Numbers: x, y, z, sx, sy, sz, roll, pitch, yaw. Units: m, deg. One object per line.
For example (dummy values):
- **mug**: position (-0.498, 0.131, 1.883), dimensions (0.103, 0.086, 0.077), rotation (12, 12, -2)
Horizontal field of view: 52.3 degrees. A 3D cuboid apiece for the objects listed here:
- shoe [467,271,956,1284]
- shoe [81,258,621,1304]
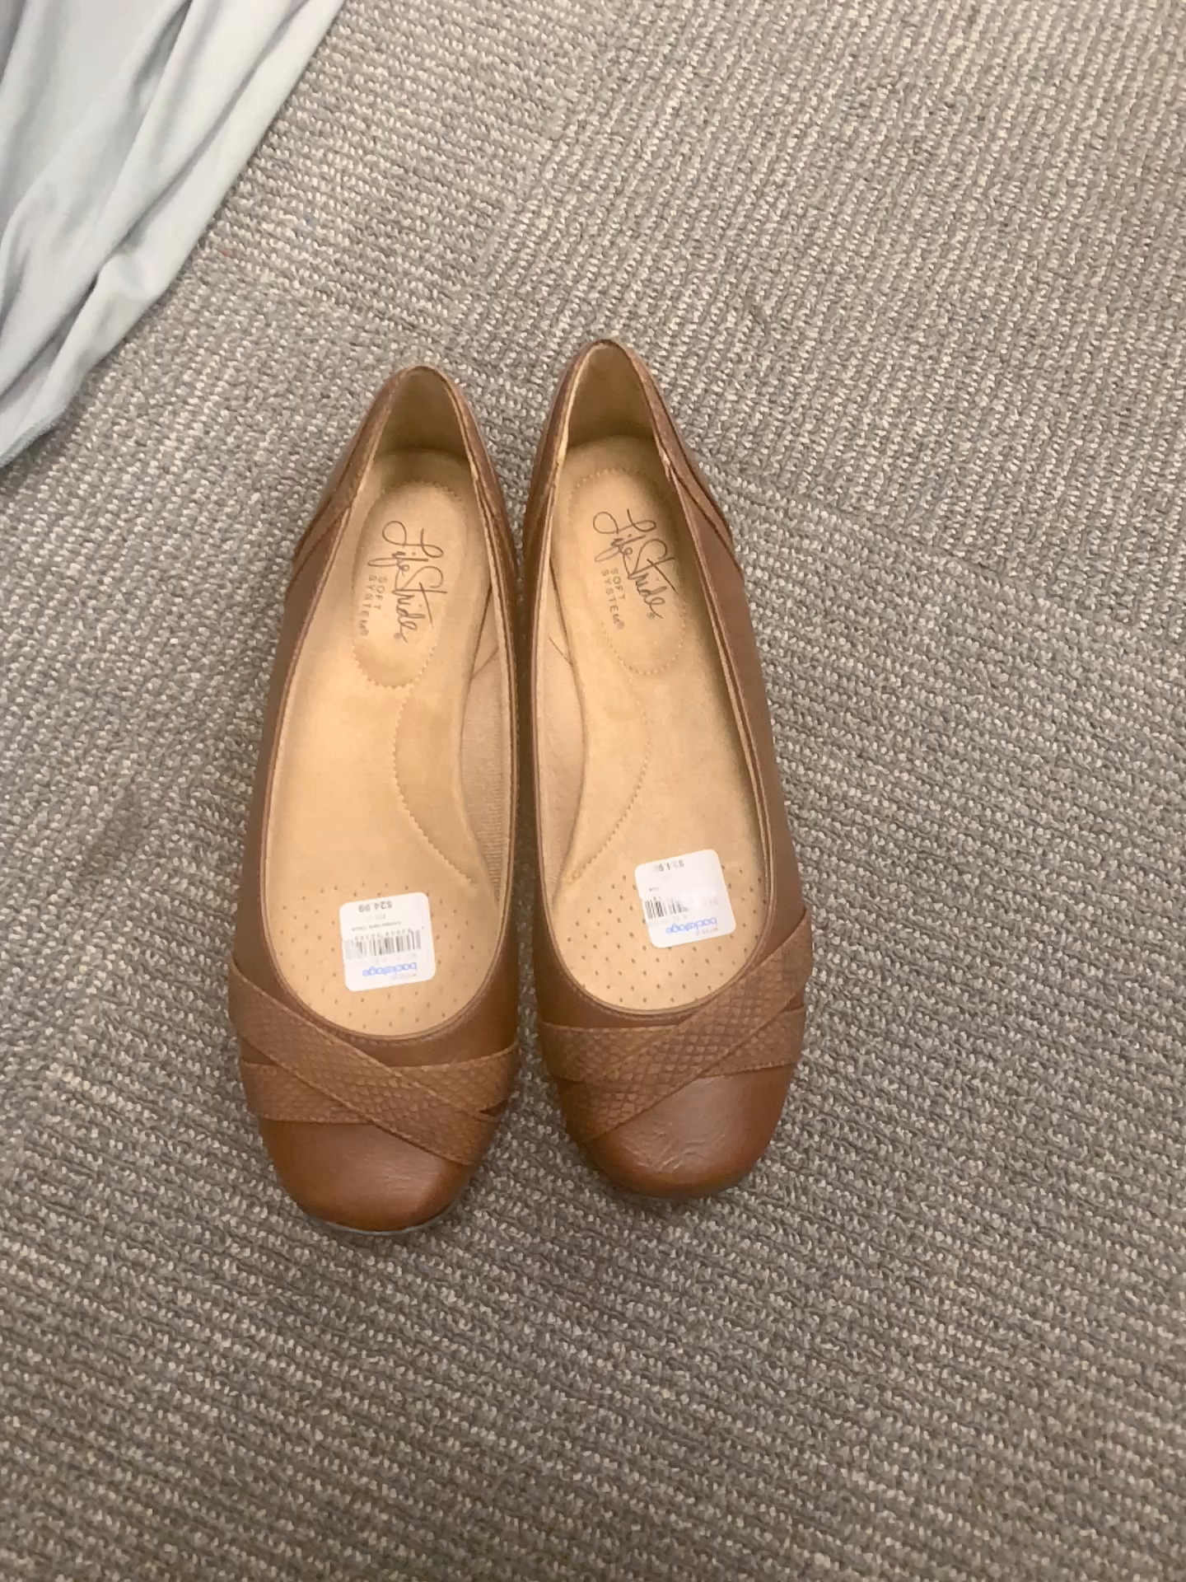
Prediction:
- **shoe**: position (0.025, -0.008, 0.366), dimensions (0.098, 0.084, 0.271), rotation (-5, 78, -4)
- **shoe**: position (-0.058, -0.006, 0.356), dimensions (0.099, 0.084, 0.269), rotation (7, 78, -1)
